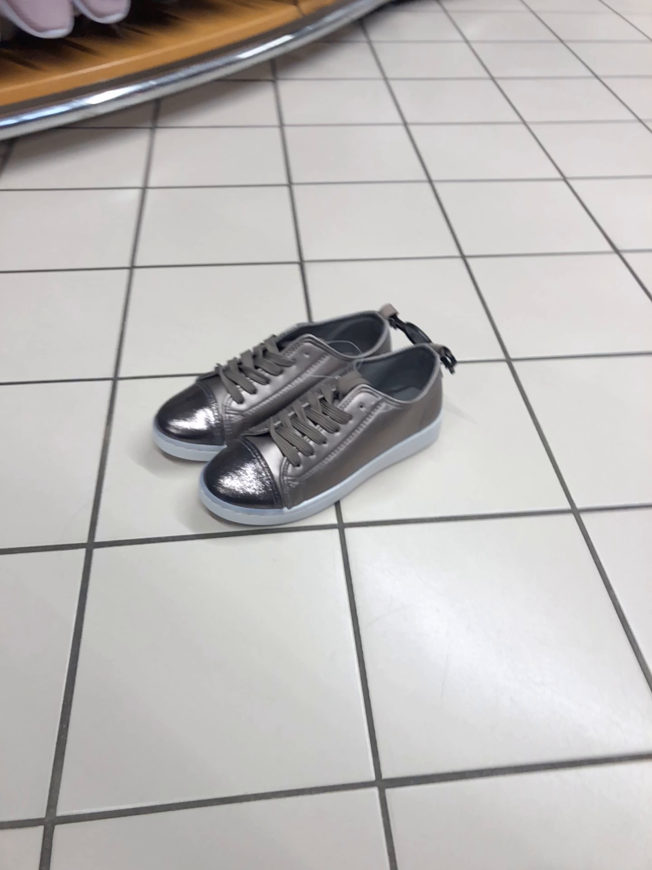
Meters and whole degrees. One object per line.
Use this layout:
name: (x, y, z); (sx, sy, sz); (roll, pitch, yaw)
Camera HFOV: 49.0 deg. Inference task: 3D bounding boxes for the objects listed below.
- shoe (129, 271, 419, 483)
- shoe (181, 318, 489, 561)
shoe: (-0.042, -0.060, 0.653); (0.241, 0.080, 0.090); (-24, 51, -24)
shoe: (0.012, -0.005, 0.603); (0.241, 0.080, 0.090); (-26, 52, -25)
